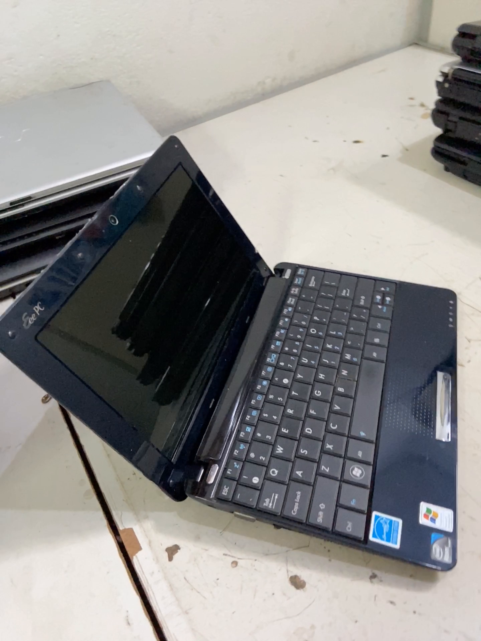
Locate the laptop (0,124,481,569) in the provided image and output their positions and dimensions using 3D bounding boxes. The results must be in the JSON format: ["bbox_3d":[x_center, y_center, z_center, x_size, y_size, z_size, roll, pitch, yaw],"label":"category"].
[{"bbox_3d":[0.029,-0.015,0.374,0.273,0.133,0.261,11,46,15],"label":"laptop"}]
